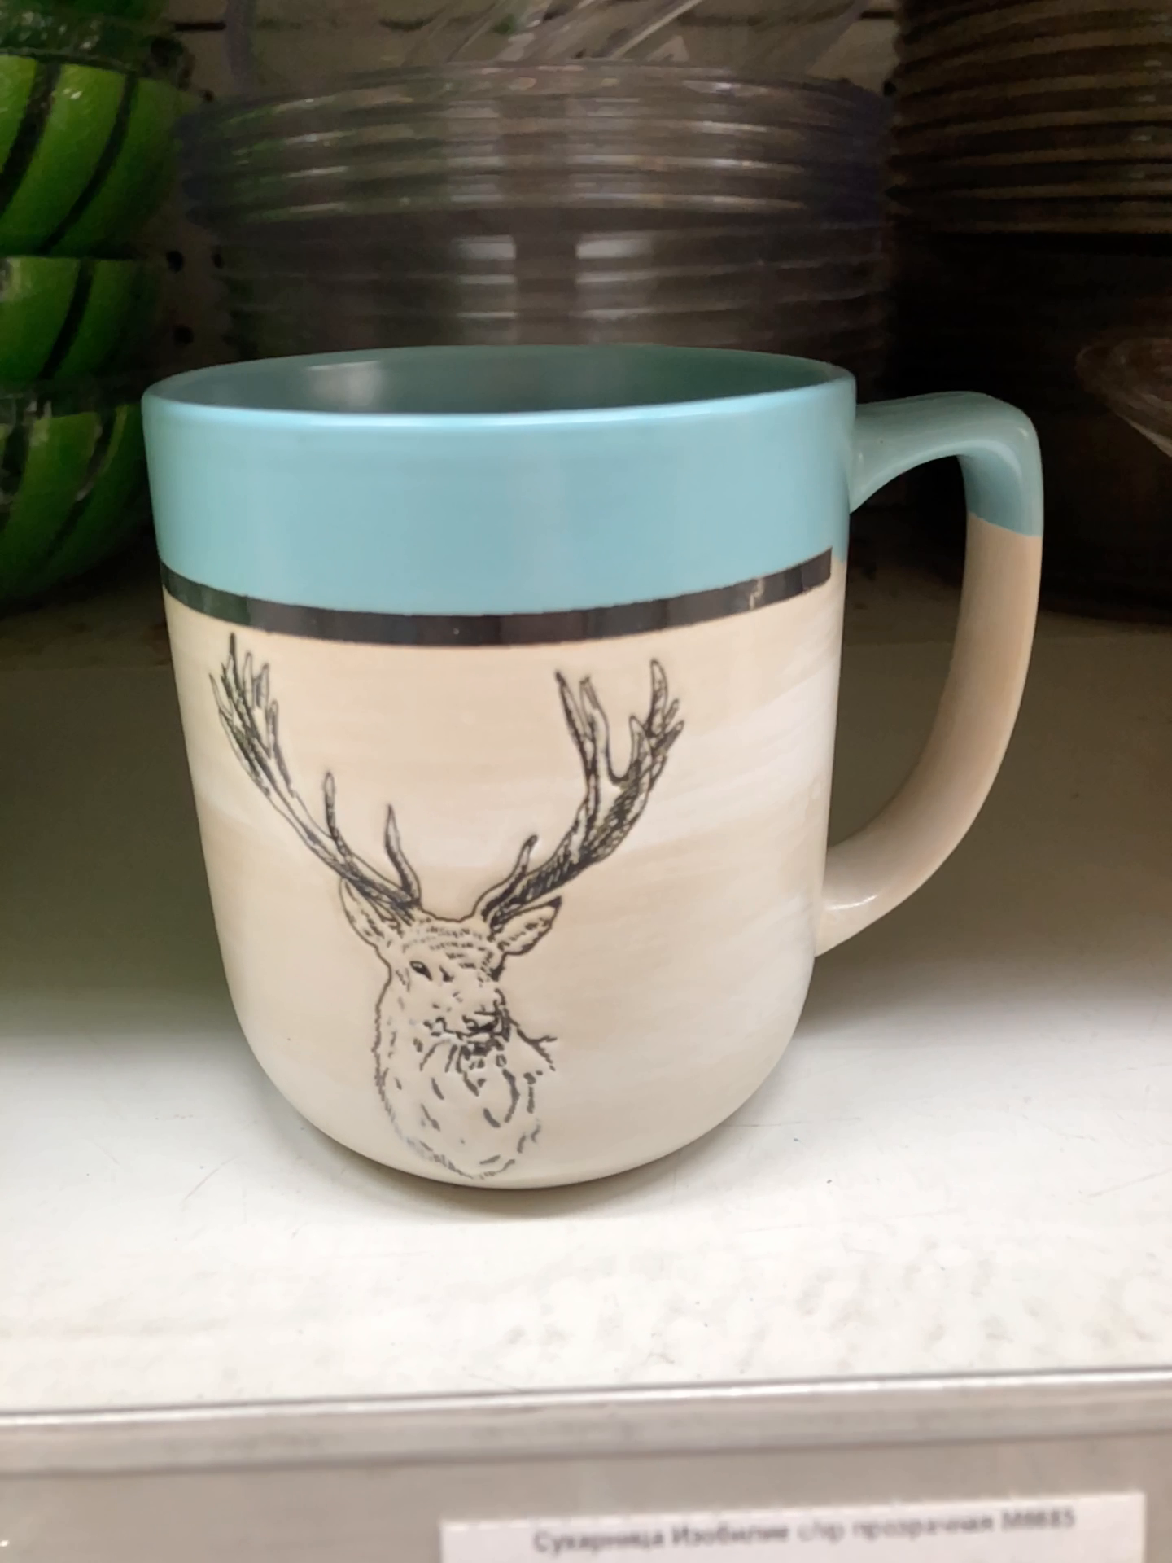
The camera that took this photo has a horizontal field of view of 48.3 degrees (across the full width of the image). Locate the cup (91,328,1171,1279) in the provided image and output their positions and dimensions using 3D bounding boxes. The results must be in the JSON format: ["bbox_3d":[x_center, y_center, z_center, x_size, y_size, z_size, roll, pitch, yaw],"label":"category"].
[{"bbox_3d":[0.006,-0.009,0.195,0.123,0.102,0.094,-5,22,-10],"label":"cup"}]
